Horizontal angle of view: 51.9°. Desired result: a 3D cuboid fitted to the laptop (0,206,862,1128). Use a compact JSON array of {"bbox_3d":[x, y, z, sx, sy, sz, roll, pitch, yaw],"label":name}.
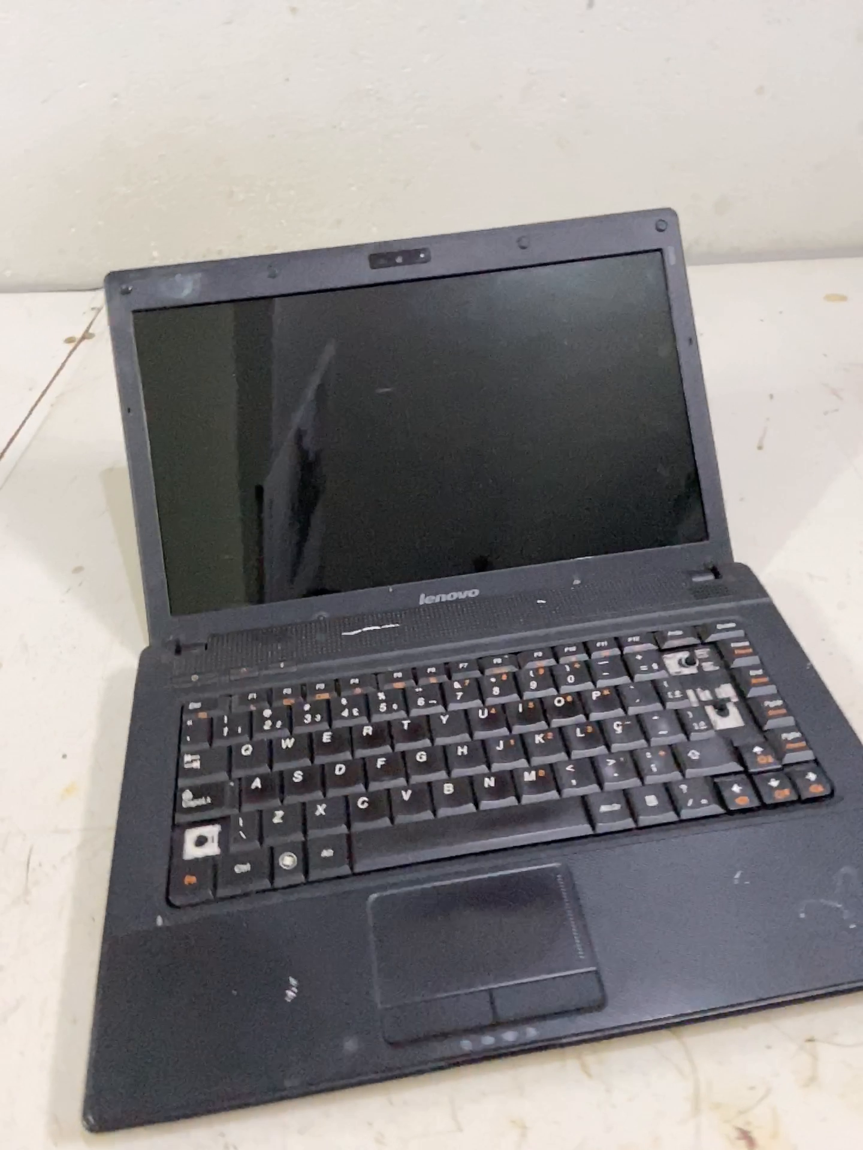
[{"bbox_3d":[0.014,-0.017,0.445,0.357,0.147,0.424,-8,42,-4],"label":"laptop"}]
